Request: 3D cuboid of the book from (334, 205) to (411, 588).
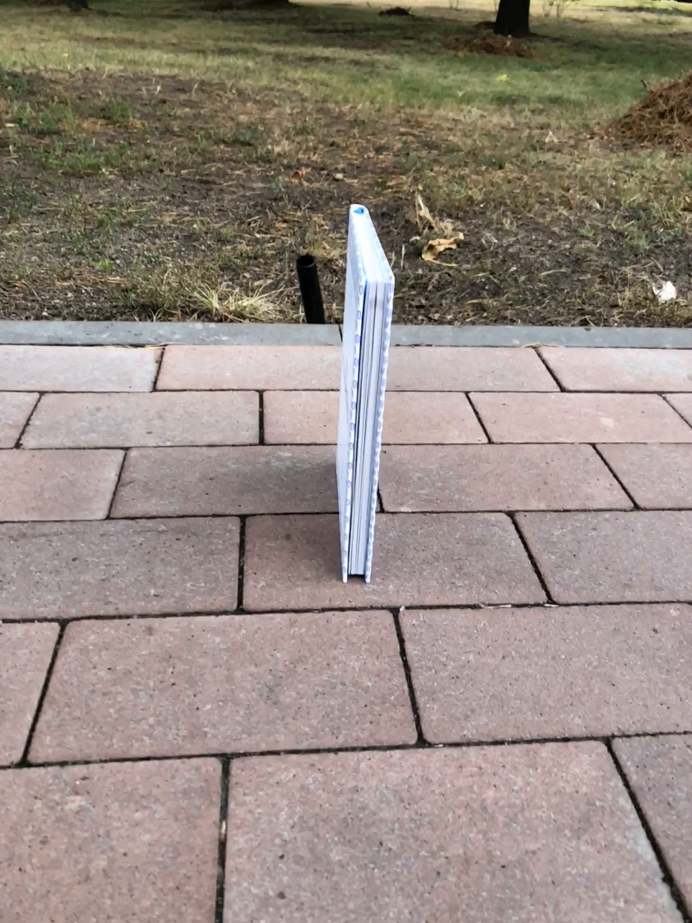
[{"bbox_3d":[0.011,-0.045,0.486,0.022,0.196,0.152,1,31,-4],"label":"book"}]
